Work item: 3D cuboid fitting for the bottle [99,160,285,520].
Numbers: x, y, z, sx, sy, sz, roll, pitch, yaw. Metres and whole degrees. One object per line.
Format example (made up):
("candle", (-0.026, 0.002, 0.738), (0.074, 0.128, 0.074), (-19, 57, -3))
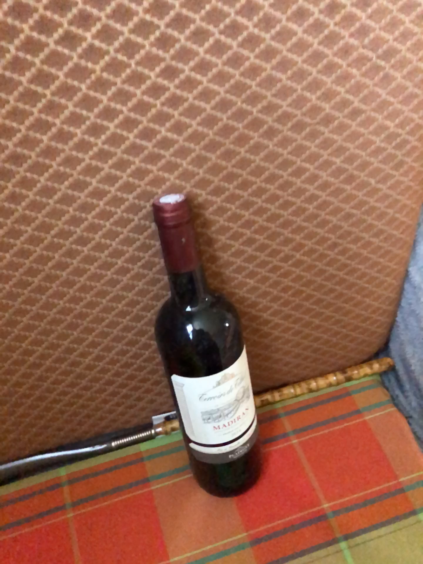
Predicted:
("bottle", (-0.007, 0.061, 0.404), (0.080, 0.299, 0.090), (-21, 33, -17))
